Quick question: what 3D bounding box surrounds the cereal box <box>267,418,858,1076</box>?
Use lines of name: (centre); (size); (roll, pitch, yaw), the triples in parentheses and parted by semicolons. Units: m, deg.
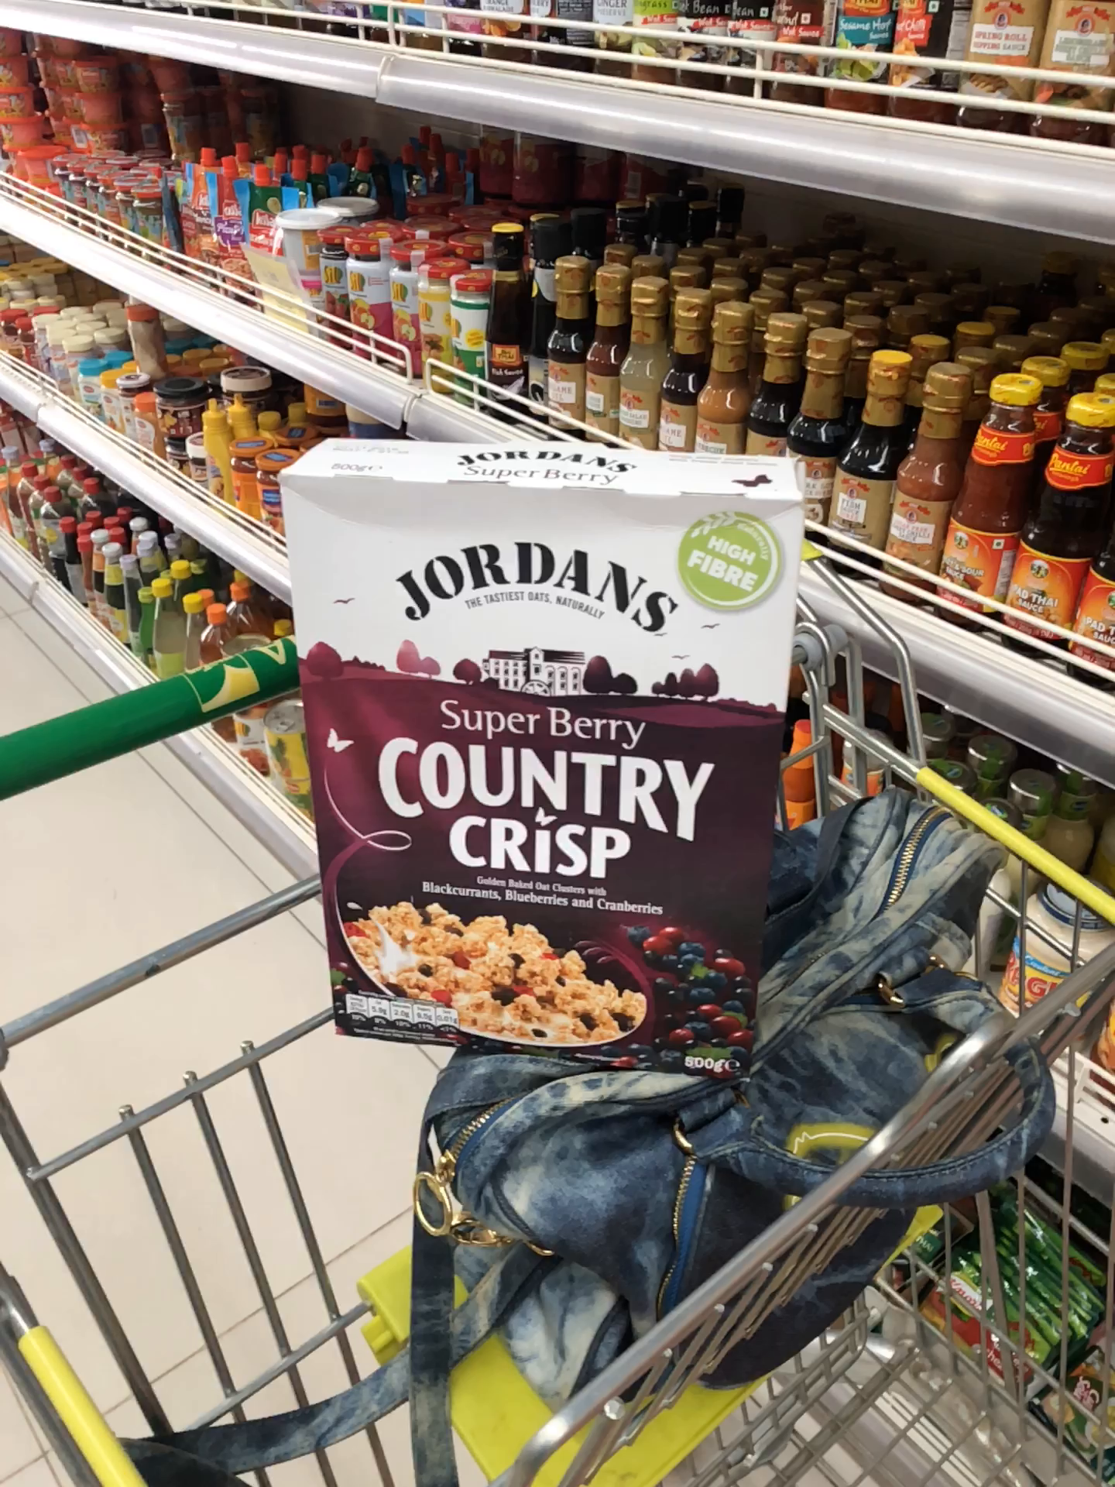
cereal box: (0.000, 0.007, 0.449); (0.180, 0.229, 0.050); (4, 28, 5)
